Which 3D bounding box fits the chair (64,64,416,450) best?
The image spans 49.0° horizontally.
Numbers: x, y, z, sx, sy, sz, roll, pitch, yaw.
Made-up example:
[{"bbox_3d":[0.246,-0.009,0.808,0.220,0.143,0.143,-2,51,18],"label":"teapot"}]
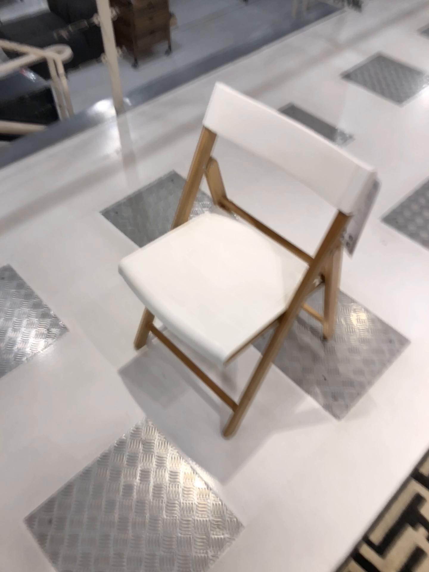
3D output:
[{"bbox_3d":[0.055,-0.056,1.236,0.552,0.705,0.472,-38,61,-27],"label":"chair"}]
